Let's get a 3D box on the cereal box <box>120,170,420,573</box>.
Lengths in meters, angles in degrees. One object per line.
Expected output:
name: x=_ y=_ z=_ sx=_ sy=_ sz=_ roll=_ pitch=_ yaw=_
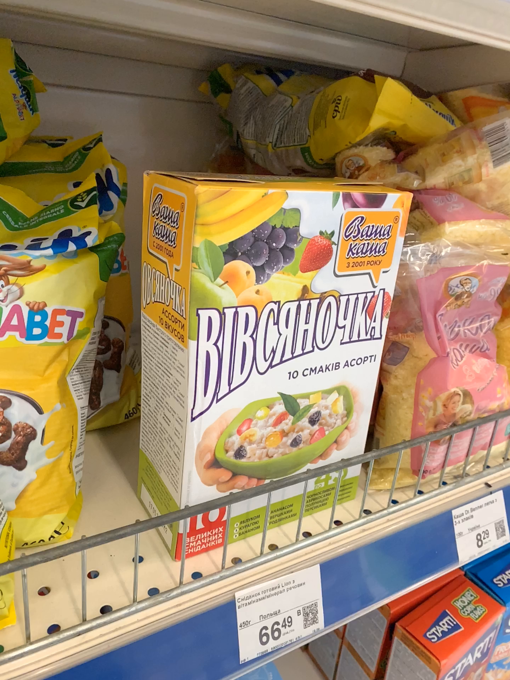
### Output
cereal box: x=0.003 y=0.011 z=0.324 sx=0.150 sy=0.209 sz=0.070 roll=-7 pitch=23 yaw=-30
